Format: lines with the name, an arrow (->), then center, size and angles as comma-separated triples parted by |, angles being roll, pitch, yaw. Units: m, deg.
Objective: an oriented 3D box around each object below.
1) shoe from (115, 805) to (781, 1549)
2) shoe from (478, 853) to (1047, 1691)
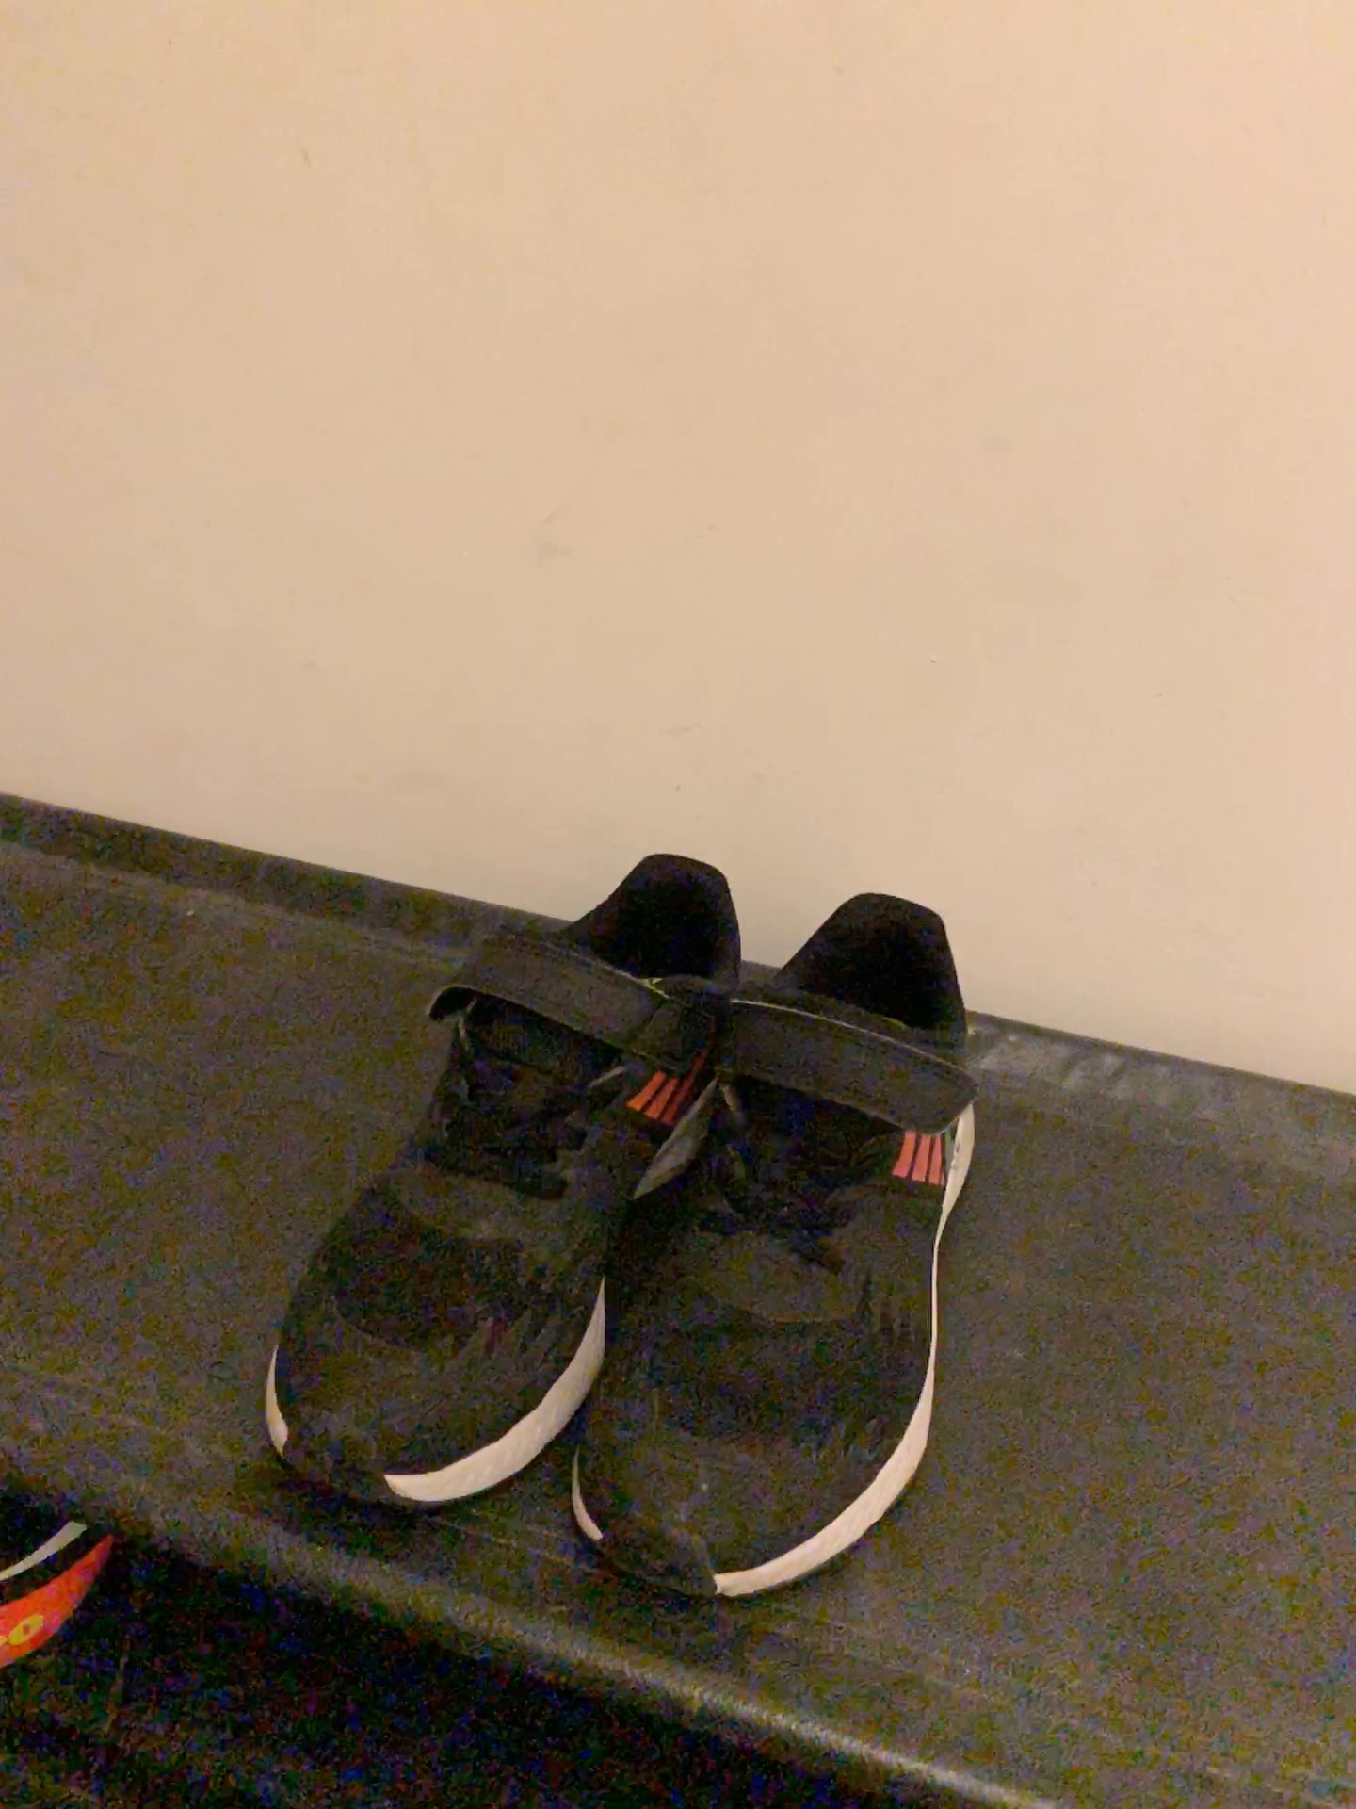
shoe -> -0.050, 0.059, 0.403 | 0.090, 0.079, 0.202 | 16, 34, 17
shoe -> 0.033, 0.077, 0.374 | 0.090, 0.079, 0.202 | 14, 33, 14
